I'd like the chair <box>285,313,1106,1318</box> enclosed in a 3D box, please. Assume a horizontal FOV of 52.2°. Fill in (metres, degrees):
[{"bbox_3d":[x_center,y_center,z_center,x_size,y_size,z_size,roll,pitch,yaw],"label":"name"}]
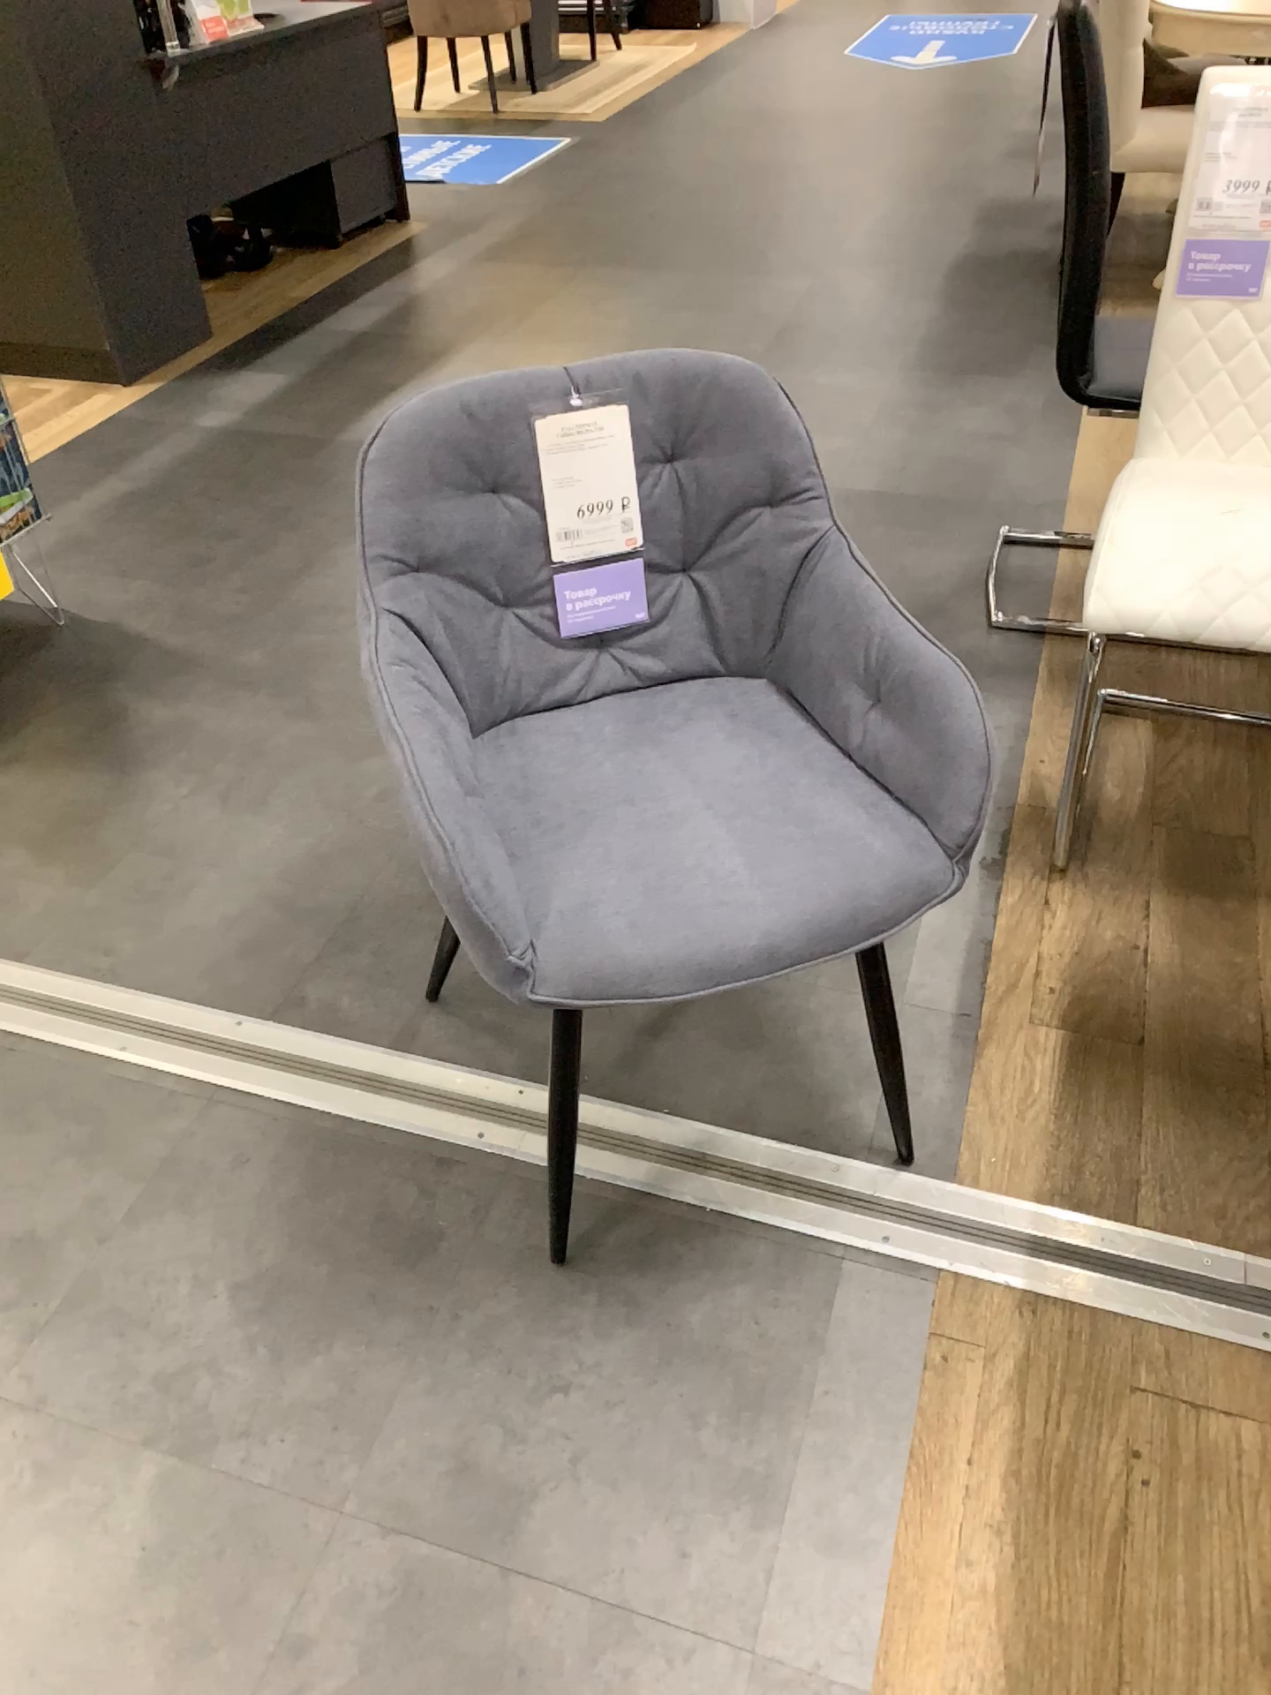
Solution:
[{"bbox_3d":[0.013,-0.050,1.381,0.560,0.776,0.593,-12,40,-12],"label":"chair"}]
